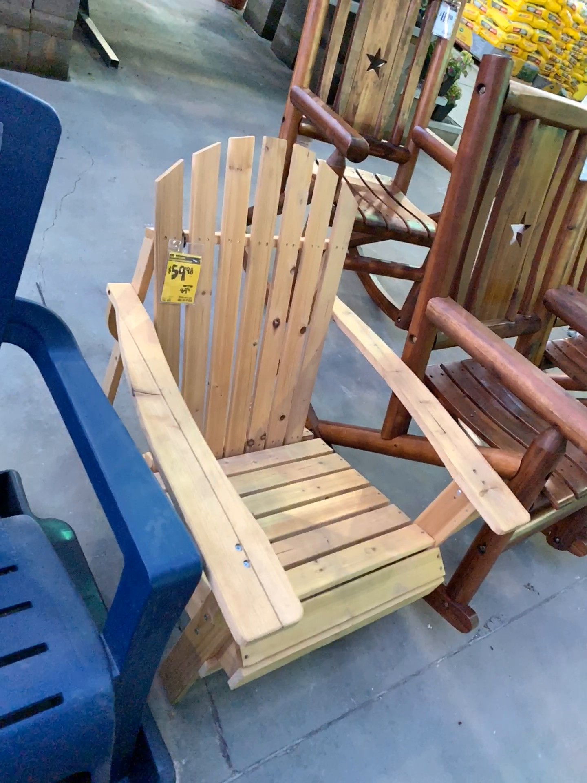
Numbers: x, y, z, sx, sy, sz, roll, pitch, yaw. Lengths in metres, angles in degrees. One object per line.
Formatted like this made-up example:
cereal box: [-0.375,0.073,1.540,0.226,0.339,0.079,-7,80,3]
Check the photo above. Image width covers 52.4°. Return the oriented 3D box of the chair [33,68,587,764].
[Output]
chair: [-0.005,0.043,1.290,0.730,0.886,0.893,-8,53,-38]
